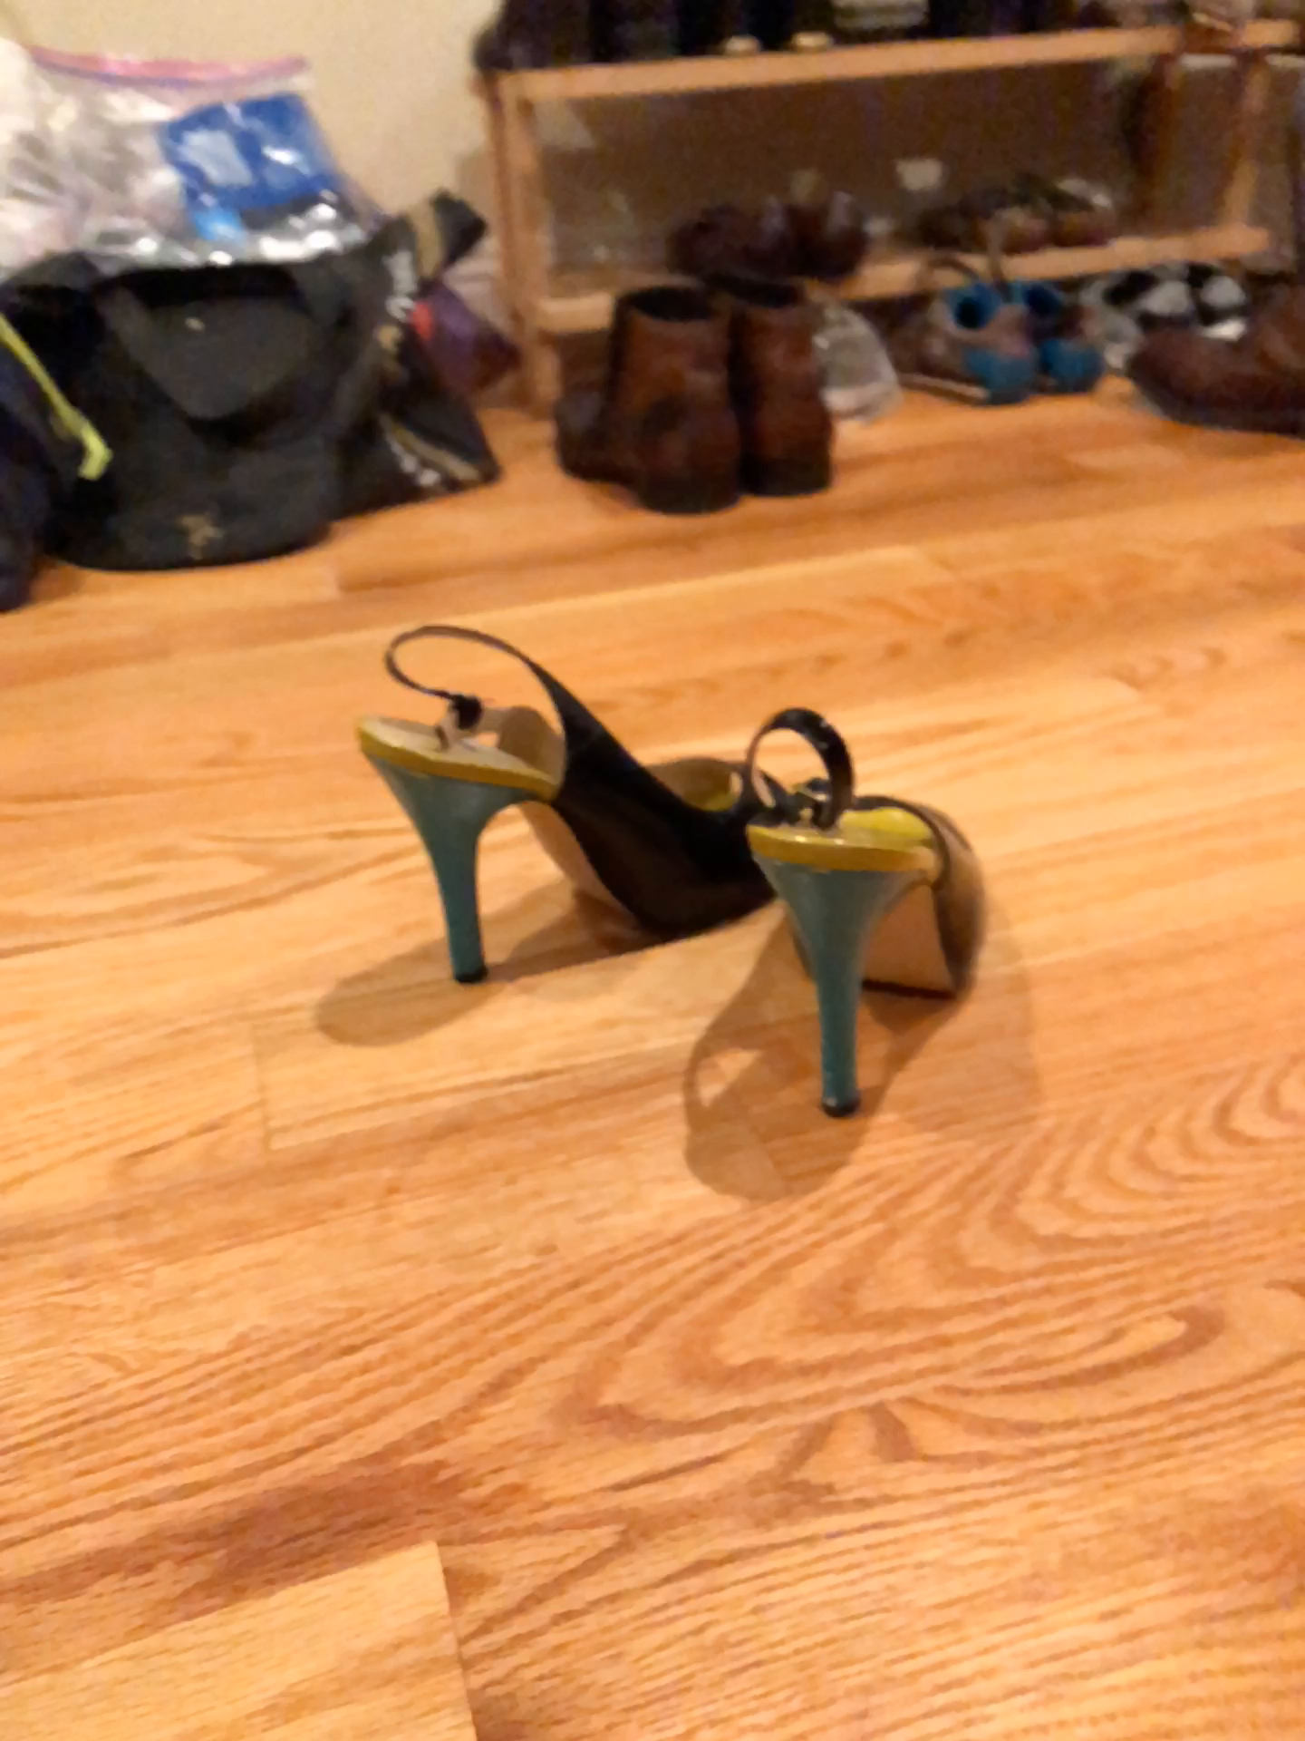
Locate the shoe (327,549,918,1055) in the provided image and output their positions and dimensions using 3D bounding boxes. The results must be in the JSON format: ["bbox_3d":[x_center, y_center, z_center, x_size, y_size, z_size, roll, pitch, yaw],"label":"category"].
[{"bbox_3d":[-0.005,-0.035,0.565,0.204,0.121,0.085,-20,33,-26],"label":"shoe"}]

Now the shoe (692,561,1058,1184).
[{"bbox_3d":[0.087,-0.013,0.515,0.085,0.131,0.202,6,31,17],"label":"shoe"}]
